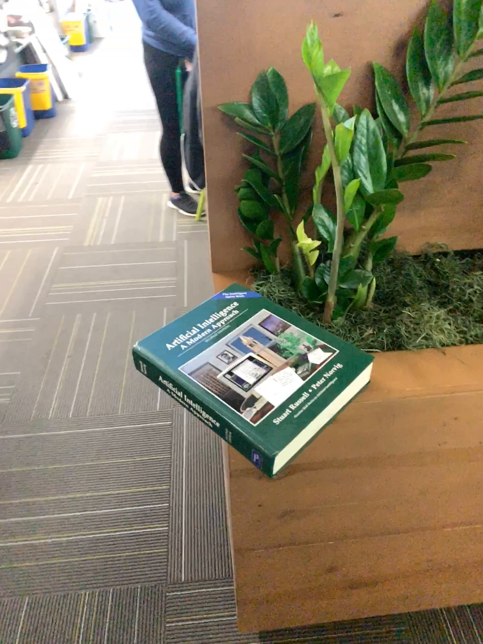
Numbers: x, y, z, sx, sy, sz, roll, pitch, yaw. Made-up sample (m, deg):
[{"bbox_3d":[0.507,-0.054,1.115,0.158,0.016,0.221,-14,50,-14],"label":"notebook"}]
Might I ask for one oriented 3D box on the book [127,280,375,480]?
[{"bbox_3d":[0.010,0.057,0.682,0.261,0.050,0.210,31,49,33],"label":"book"}]
